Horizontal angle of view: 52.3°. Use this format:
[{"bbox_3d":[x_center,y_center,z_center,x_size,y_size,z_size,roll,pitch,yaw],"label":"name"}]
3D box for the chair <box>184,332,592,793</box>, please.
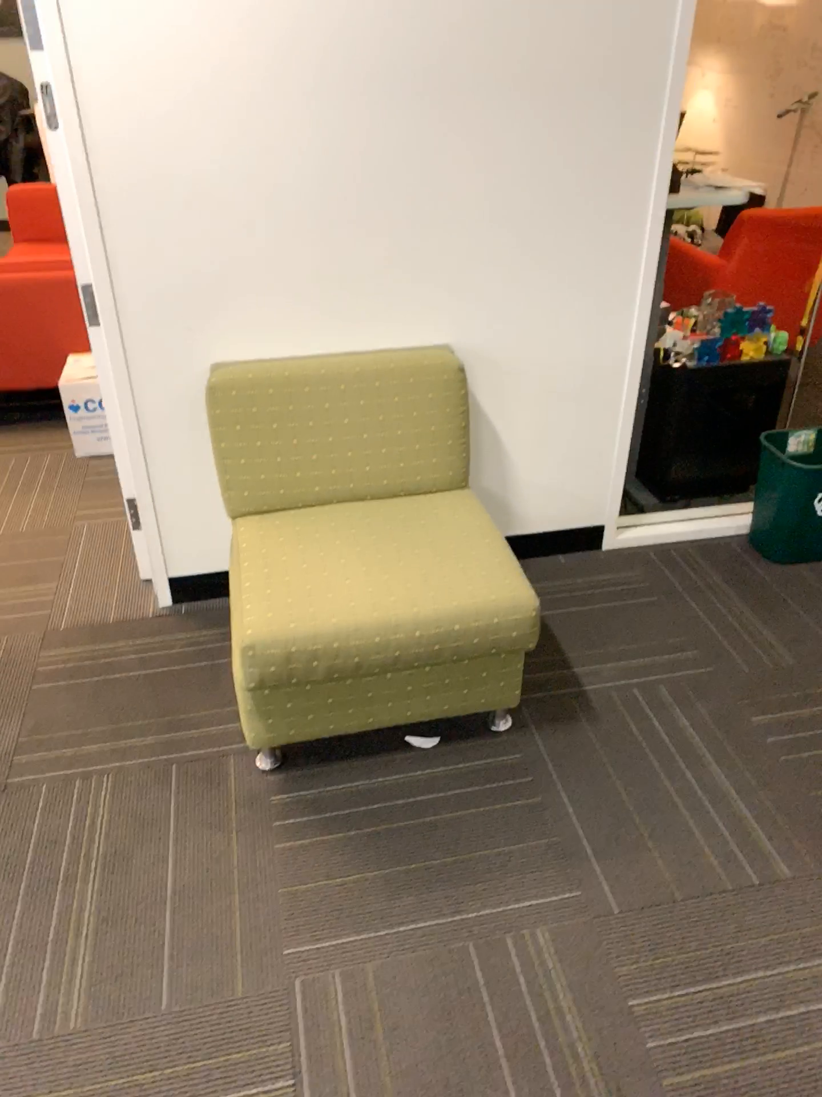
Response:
[{"bbox_3d":[-0.103,-0.020,1.981,0.730,0.686,0.785,-7,34,-10],"label":"chair"}]
